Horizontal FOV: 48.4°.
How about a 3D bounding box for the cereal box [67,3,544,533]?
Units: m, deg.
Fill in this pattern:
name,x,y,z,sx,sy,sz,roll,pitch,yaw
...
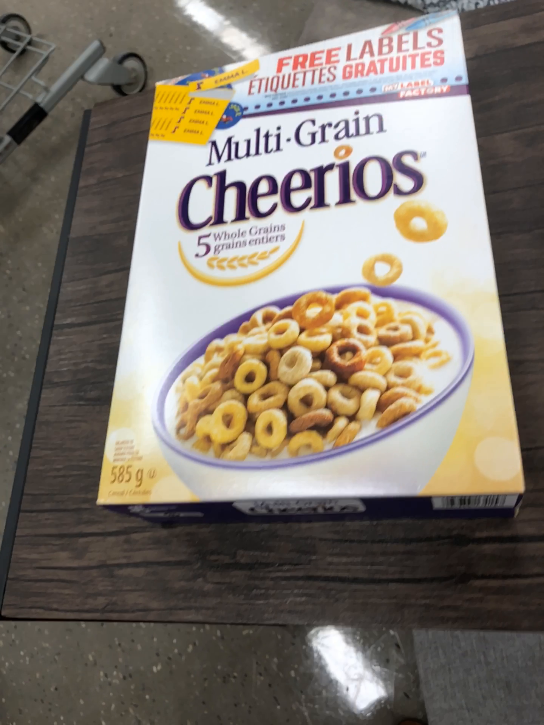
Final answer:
name,x,y,z,sx,sy,sz,roll,pitch,yaw
cereal box,0.022,-0.066,0.406,0.250,0.070,0.340,-5,64,17
